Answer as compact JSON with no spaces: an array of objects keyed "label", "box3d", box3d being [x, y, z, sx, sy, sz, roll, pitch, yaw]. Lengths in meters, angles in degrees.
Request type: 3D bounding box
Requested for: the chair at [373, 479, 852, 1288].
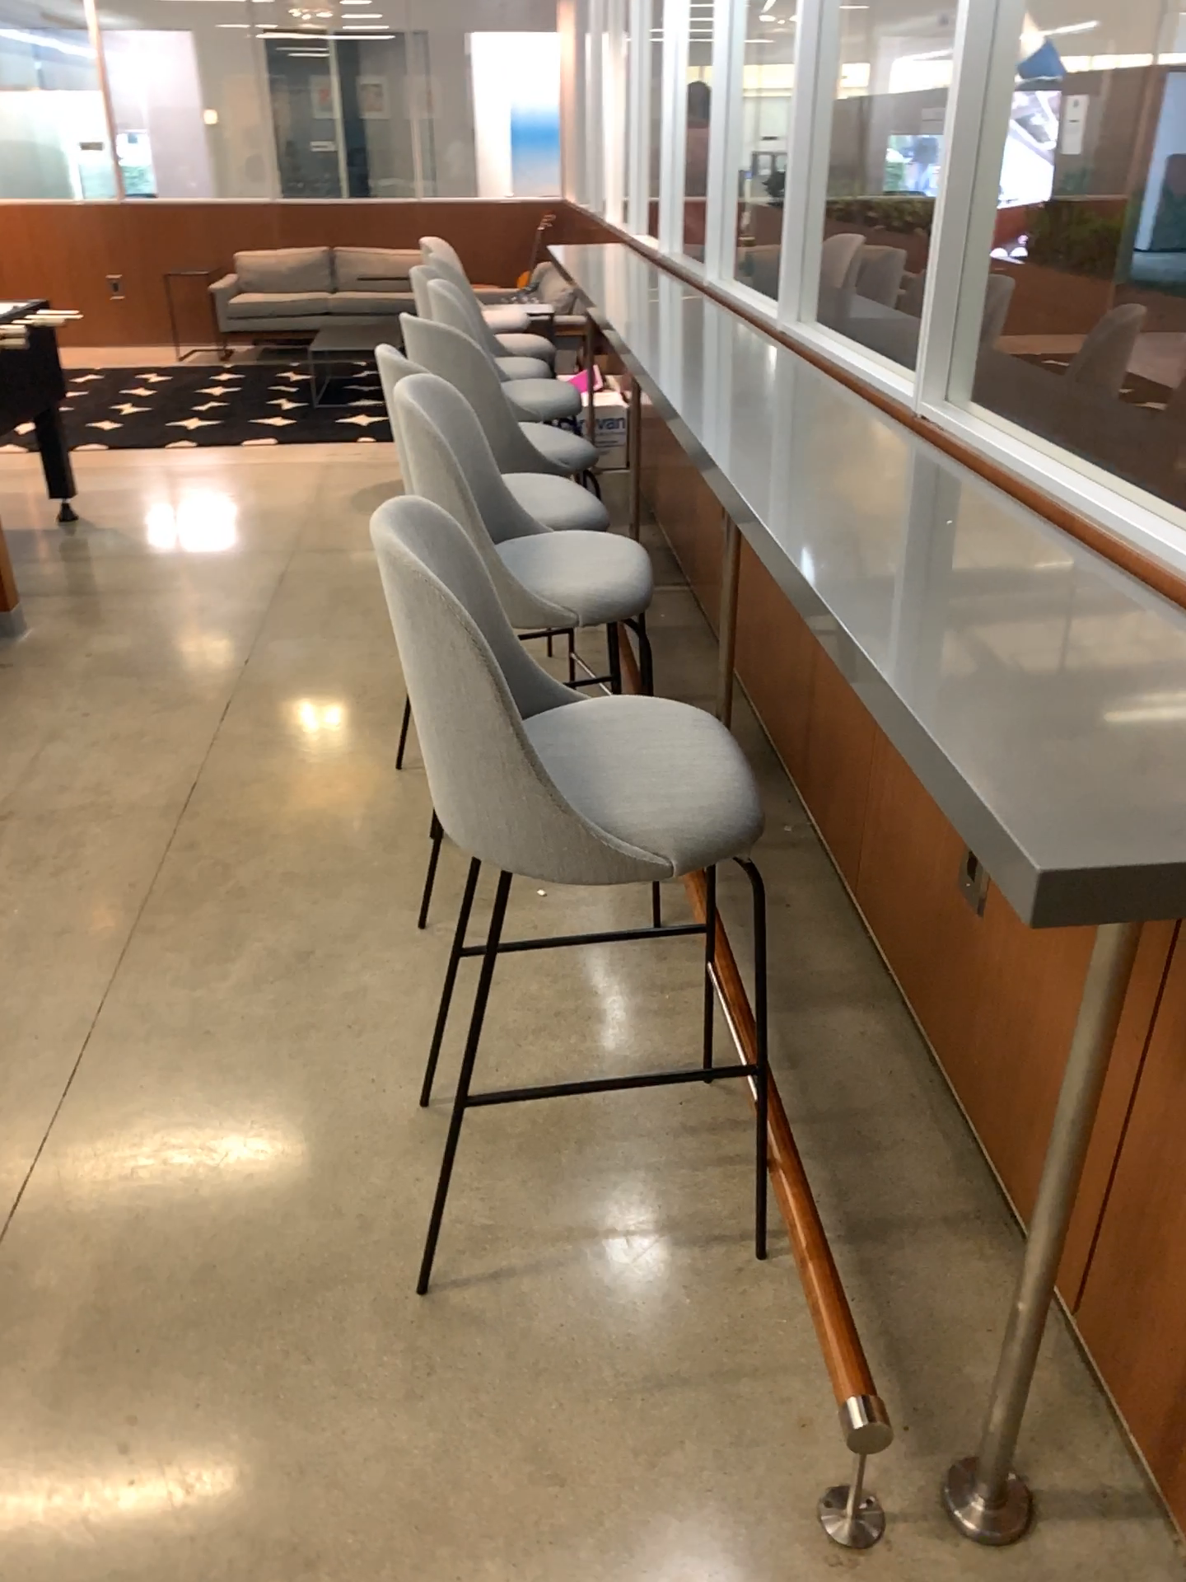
[{"label":"chair","box3d":[-0.002,0.136,1.723,0.510,1.034,0.412,-6,28,-11]}]
